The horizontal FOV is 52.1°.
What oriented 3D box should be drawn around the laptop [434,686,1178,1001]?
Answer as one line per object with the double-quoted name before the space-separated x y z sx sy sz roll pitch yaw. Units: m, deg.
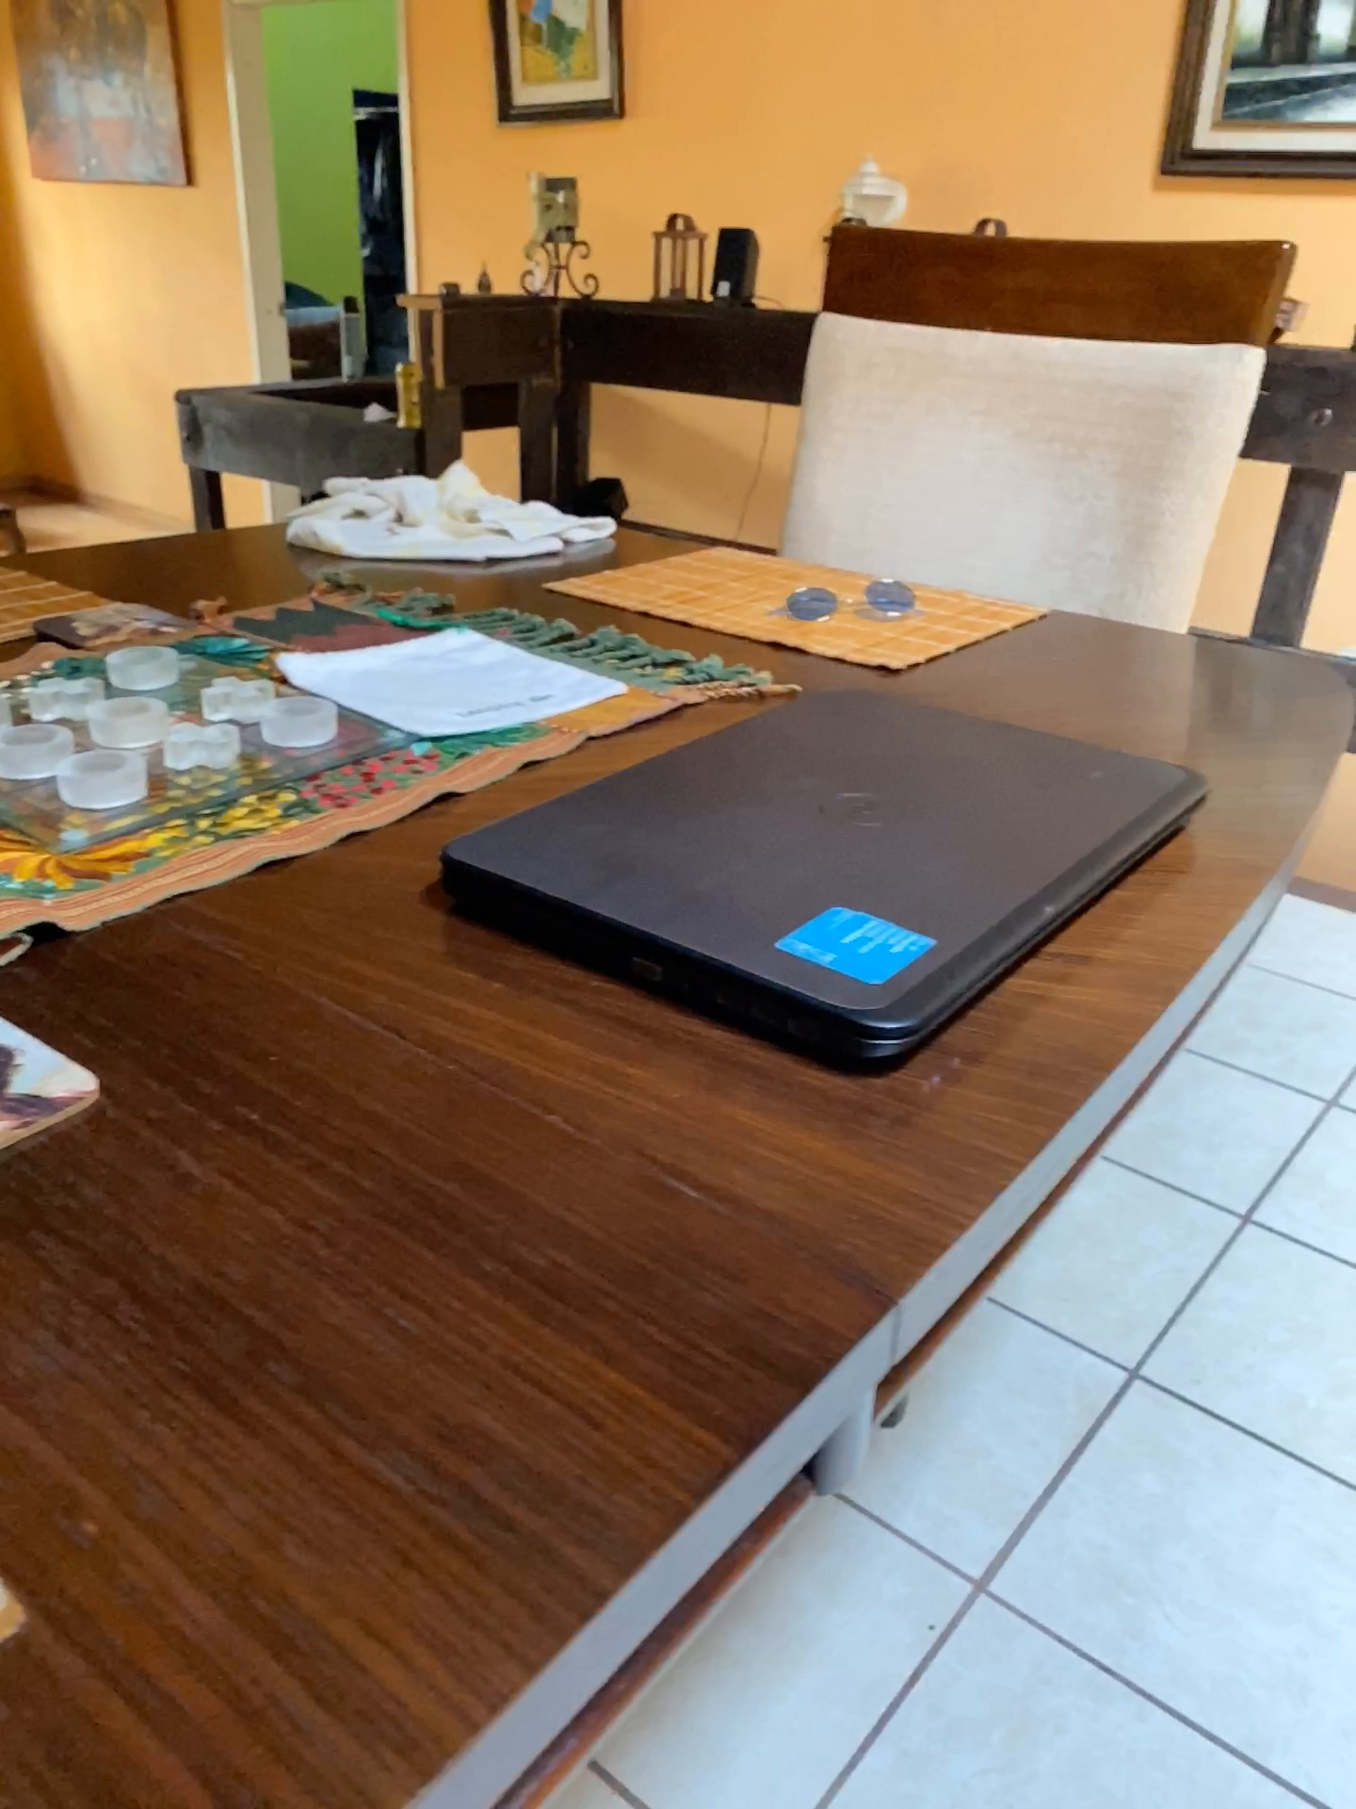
"laptop" 0.085 -0.055 0.736 0.248 0.001 0.353 19 30 32
